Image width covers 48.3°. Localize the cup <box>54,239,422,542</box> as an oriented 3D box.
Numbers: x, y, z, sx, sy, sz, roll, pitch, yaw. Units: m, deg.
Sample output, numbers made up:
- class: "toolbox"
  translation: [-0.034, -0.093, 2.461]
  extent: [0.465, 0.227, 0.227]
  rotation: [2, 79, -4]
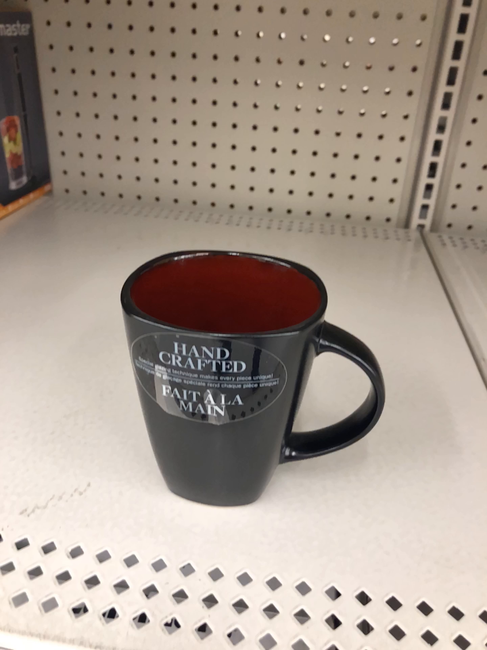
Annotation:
- class: "cup"
  translation: [0.000, 0.026, 0.275]
  extent: [0.143, 0.099, 0.100]
  rotation: [5, 29, 5]
